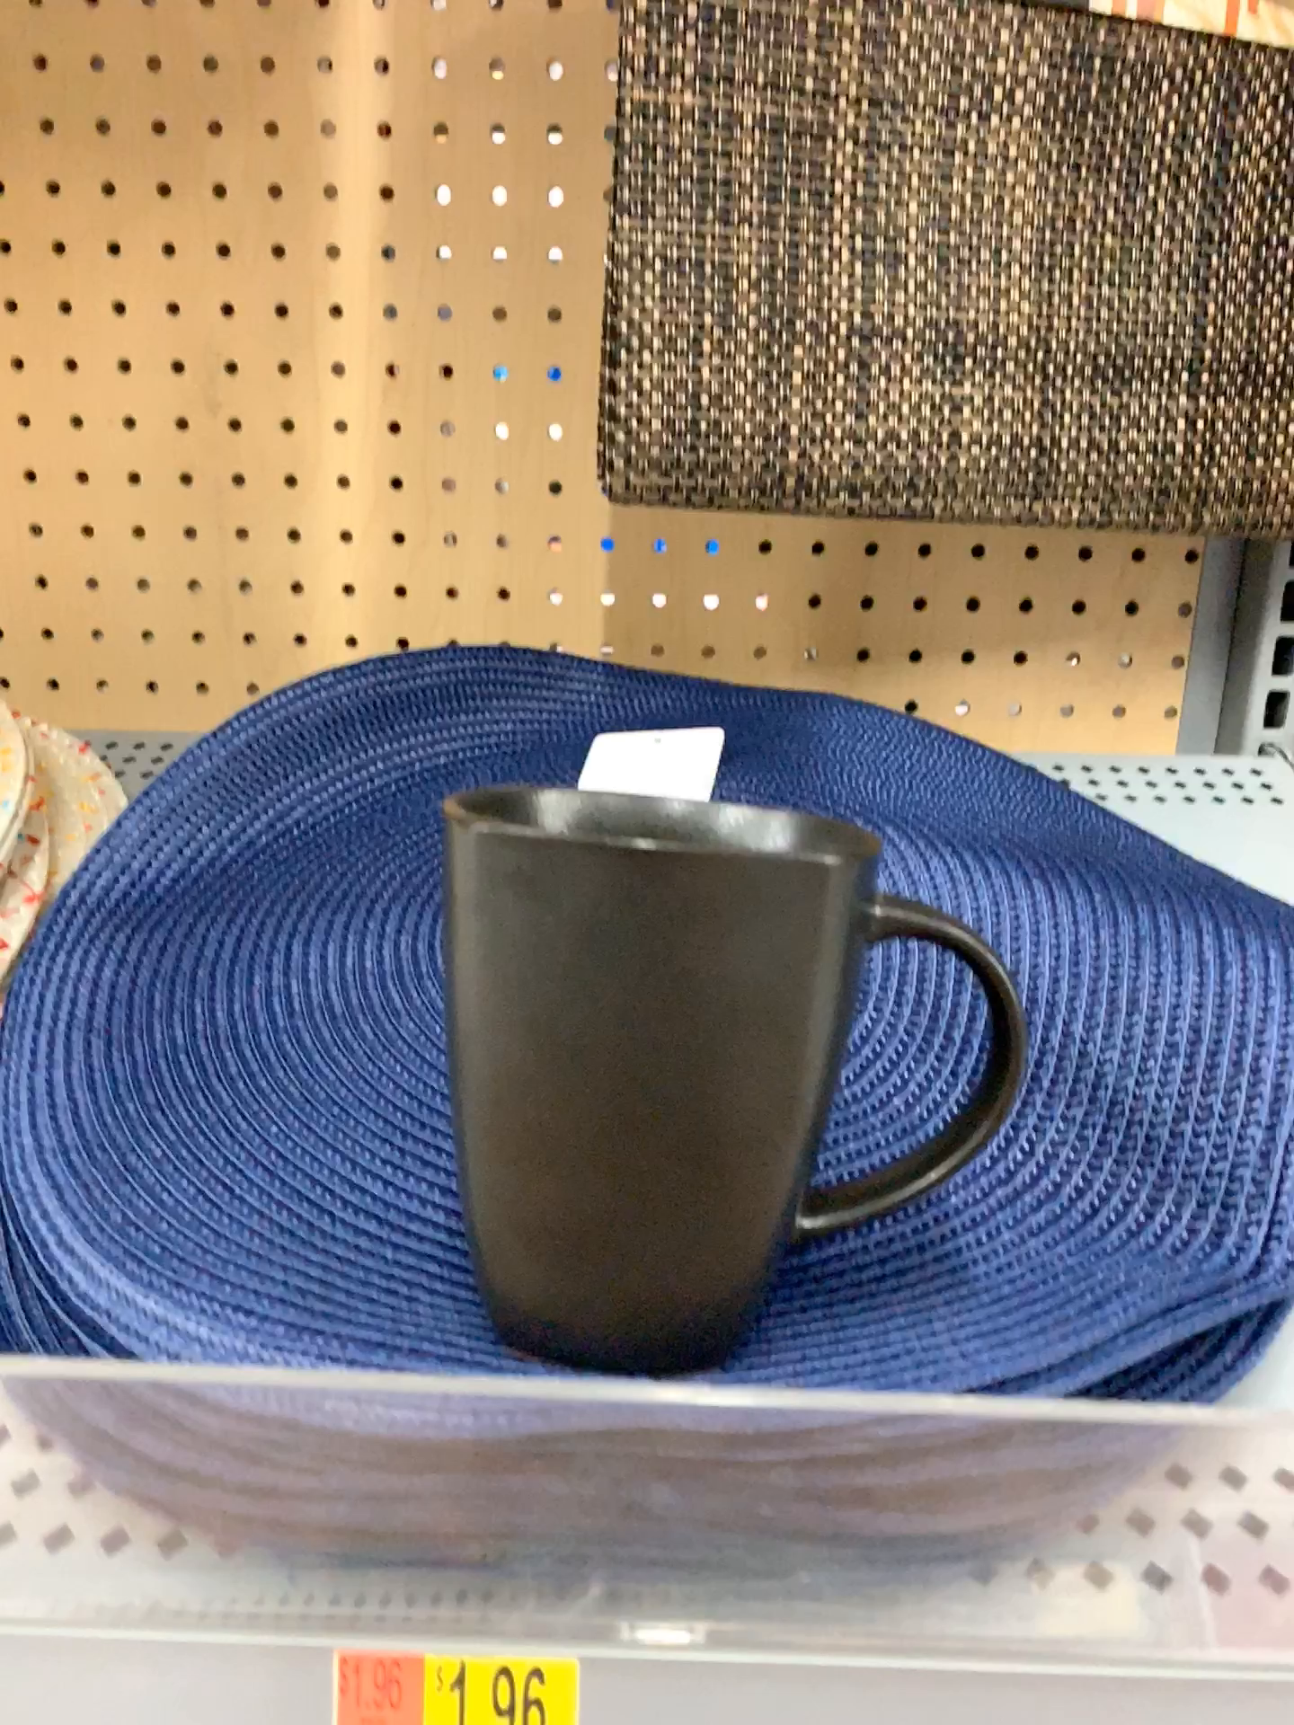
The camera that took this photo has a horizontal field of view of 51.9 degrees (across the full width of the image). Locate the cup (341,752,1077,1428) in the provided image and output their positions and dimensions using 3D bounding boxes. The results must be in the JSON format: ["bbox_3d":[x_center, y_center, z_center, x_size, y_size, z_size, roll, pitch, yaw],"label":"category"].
[{"bbox_3d":[0.012,0.039,0.289,0.130,0.110,0.090,3,11,6],"label":"cup"}]
